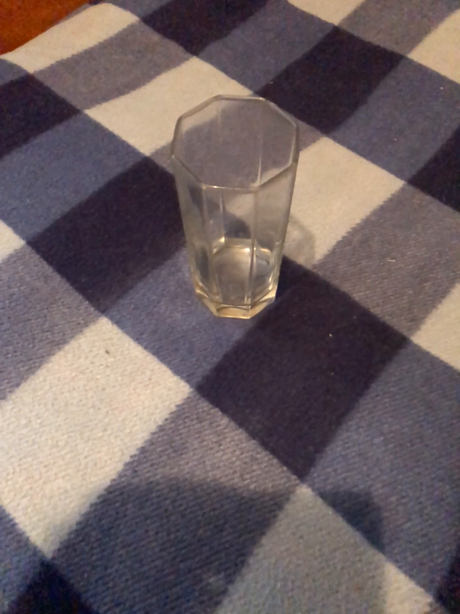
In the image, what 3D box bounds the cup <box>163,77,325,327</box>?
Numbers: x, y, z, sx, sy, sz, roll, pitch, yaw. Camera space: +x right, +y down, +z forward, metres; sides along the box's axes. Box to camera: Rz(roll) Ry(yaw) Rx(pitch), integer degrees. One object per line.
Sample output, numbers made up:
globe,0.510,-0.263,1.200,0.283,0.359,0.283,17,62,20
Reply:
cup,0.004,-0.059,0.327,0.077,0.137,0.082,0,60,-1
